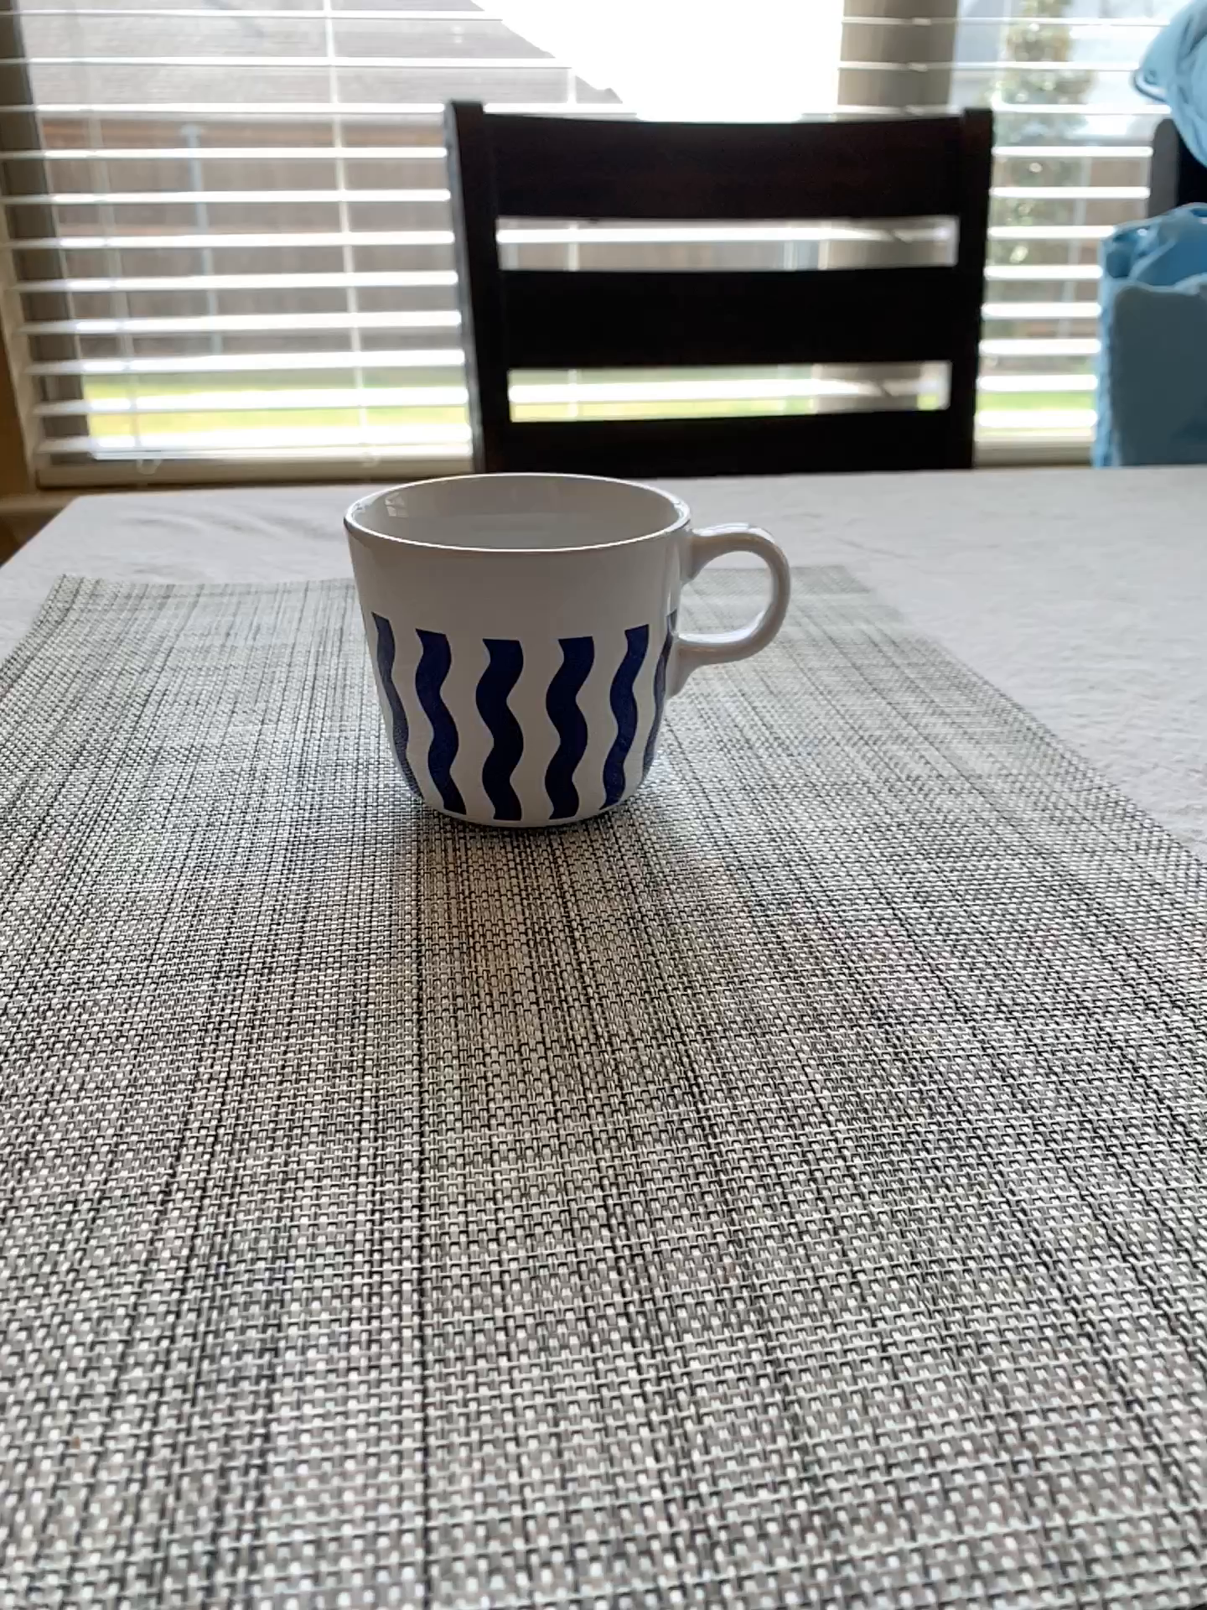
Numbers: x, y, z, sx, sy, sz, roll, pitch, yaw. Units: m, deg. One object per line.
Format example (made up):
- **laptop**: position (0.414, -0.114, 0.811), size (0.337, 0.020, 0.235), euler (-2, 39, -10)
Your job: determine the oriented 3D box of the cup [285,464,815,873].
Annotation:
- **cup**: position (-0.006, -0.039, 0.315), size (0.112, 0.072, 0.087), euler (4, 26, 8)
